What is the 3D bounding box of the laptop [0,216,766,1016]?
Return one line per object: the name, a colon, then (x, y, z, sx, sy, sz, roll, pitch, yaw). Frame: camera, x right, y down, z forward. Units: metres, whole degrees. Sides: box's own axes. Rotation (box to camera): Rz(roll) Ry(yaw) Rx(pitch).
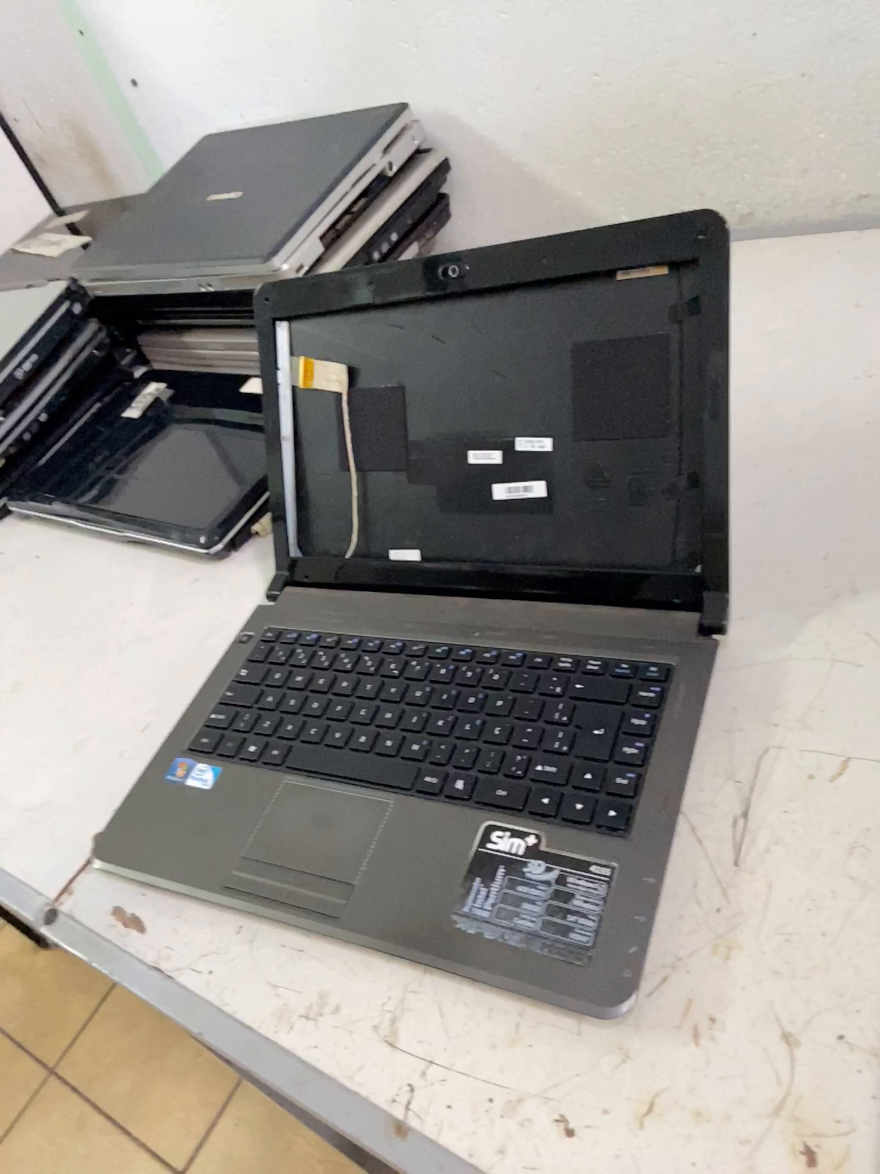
laptop: (-0.029, -0.016, 0.525, 0.343, 0.174, 0.366, 3, 47, 30)
